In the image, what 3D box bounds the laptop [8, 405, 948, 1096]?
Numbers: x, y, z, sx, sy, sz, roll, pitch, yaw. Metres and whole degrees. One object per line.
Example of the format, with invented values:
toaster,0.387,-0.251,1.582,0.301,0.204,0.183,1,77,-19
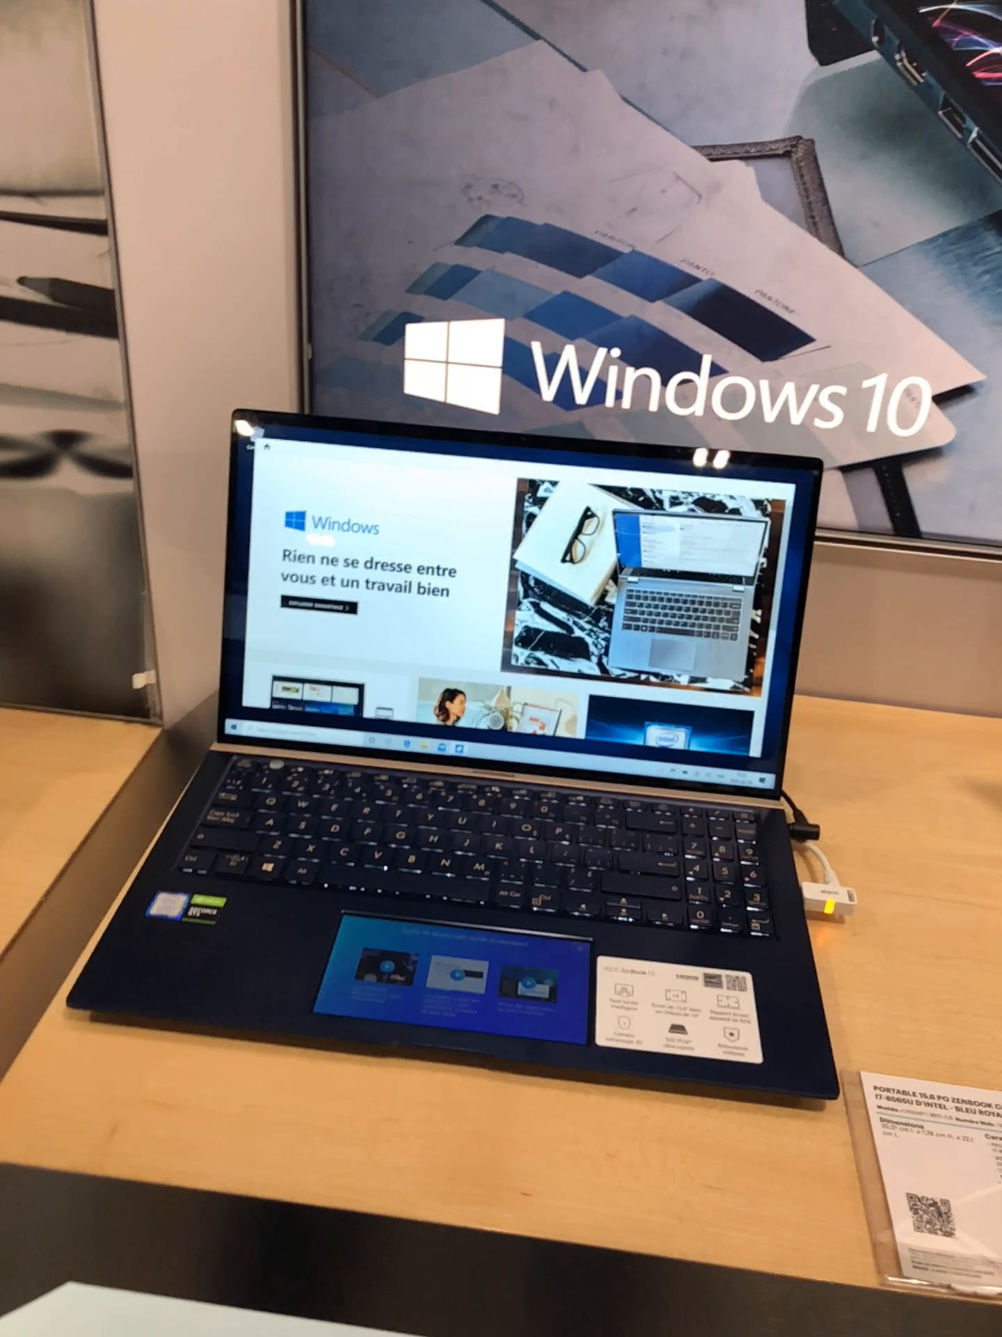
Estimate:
laptop,-0.006,0.016,0.556,0.338,0.183,0.274,6,30,3
